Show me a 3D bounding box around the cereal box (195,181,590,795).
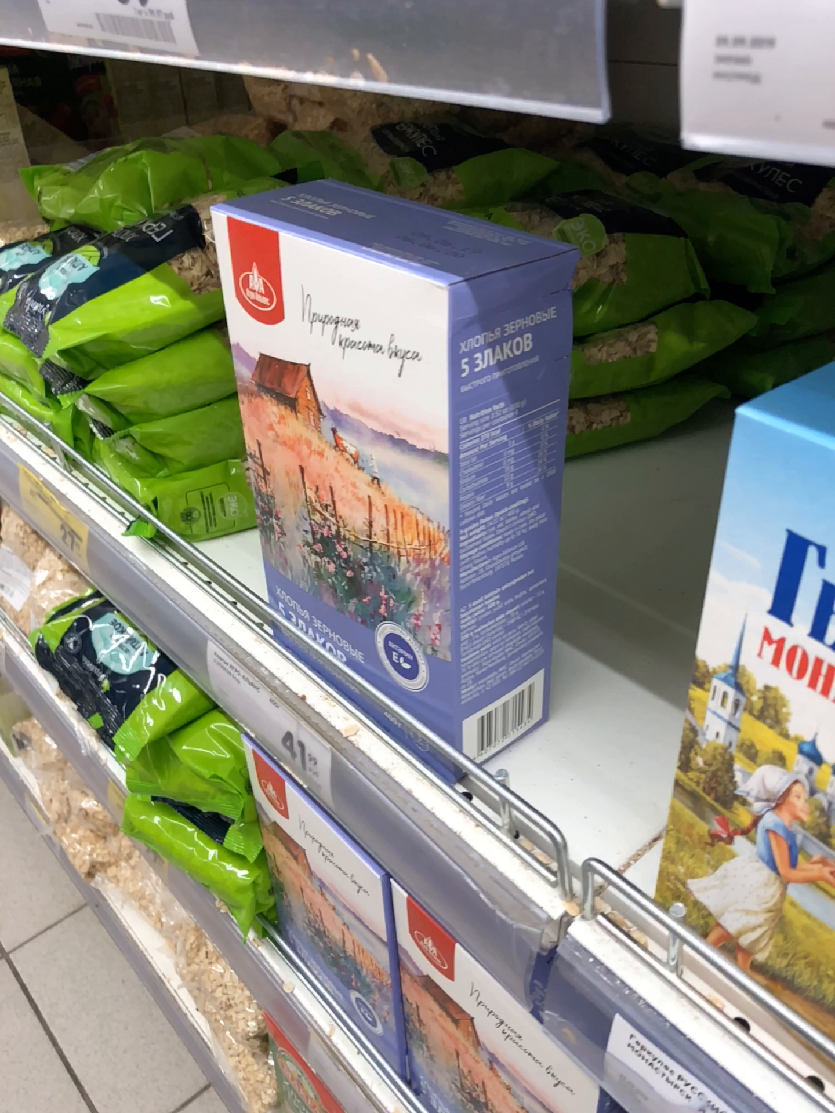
[{"bbox_3d":[-0.012,-0.030,0.368,0.060,0.199,0.141,-26,40,-32],"label":"cereal box"}]
